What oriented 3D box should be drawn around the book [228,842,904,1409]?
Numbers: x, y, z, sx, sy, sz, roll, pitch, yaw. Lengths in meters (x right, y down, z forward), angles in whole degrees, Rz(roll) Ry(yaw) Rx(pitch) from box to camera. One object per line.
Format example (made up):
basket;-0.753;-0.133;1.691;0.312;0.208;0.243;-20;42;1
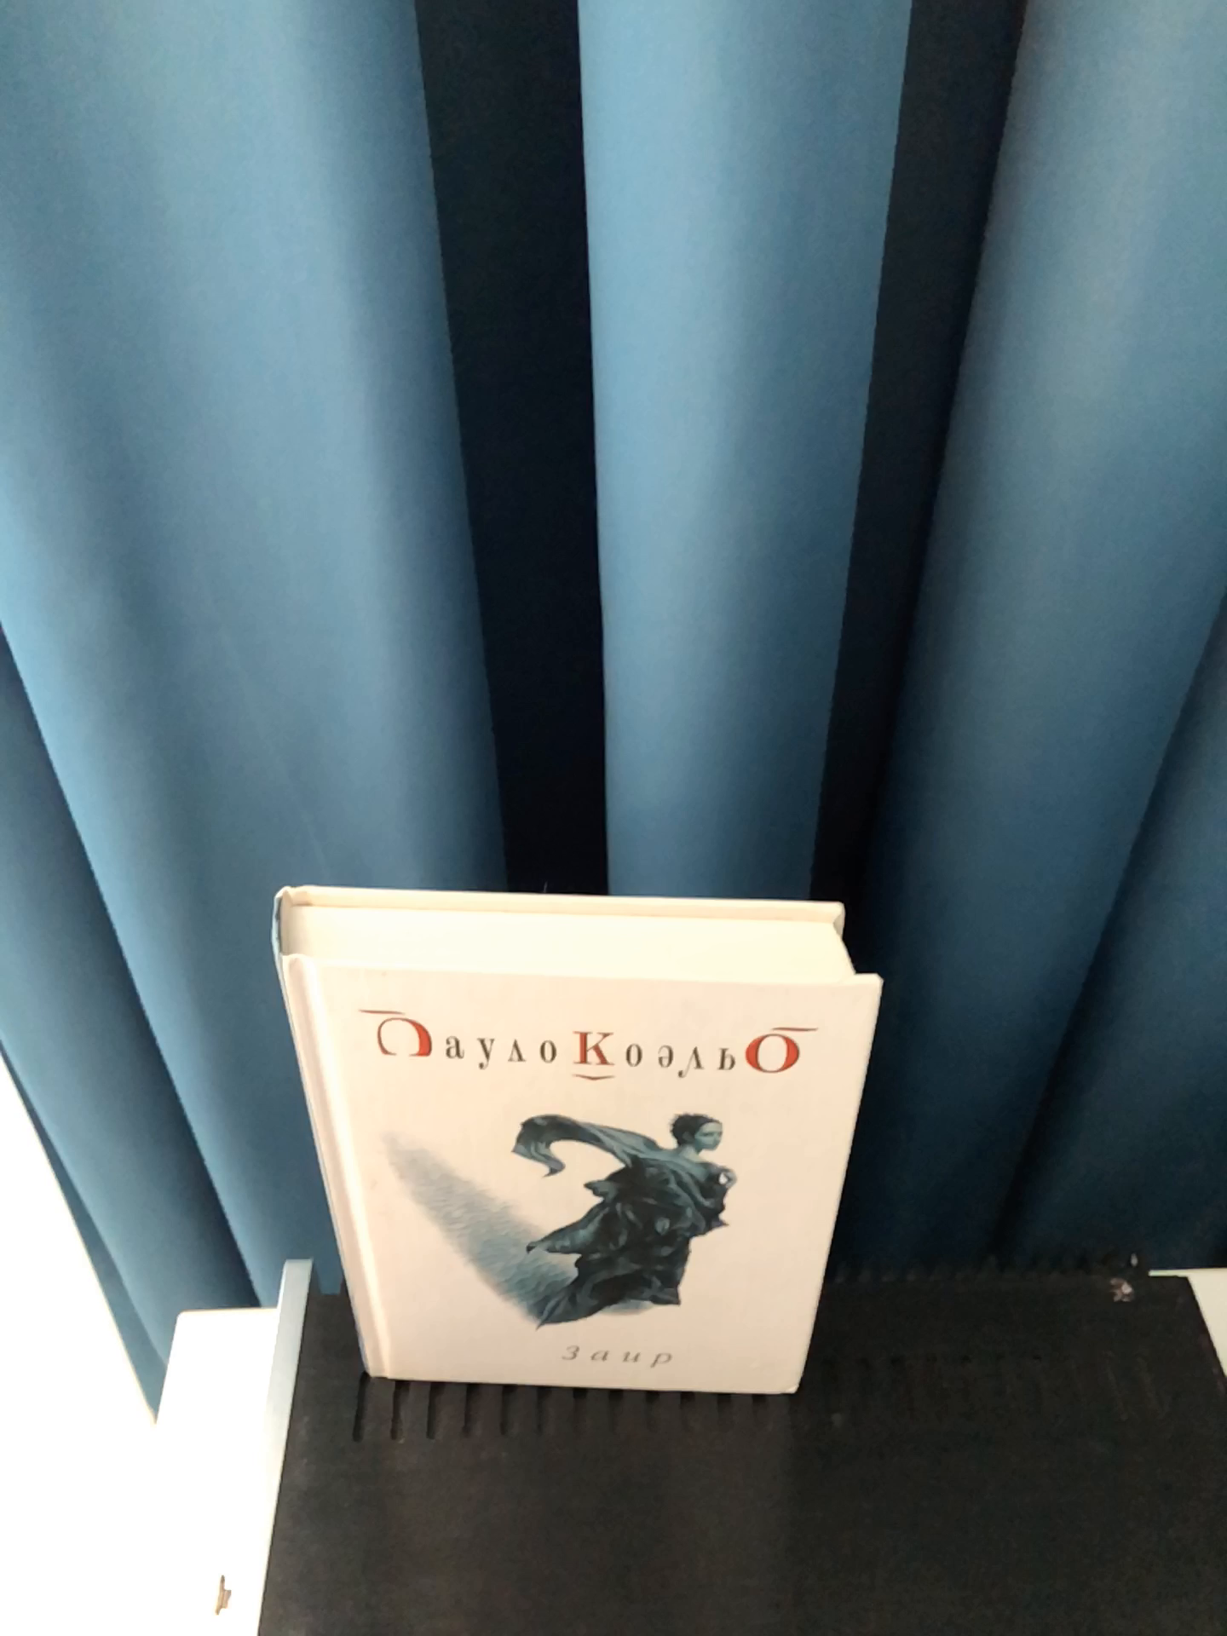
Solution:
book;-0.008;0.084;0.331;0.130;0.179;0.030;2;41;3
